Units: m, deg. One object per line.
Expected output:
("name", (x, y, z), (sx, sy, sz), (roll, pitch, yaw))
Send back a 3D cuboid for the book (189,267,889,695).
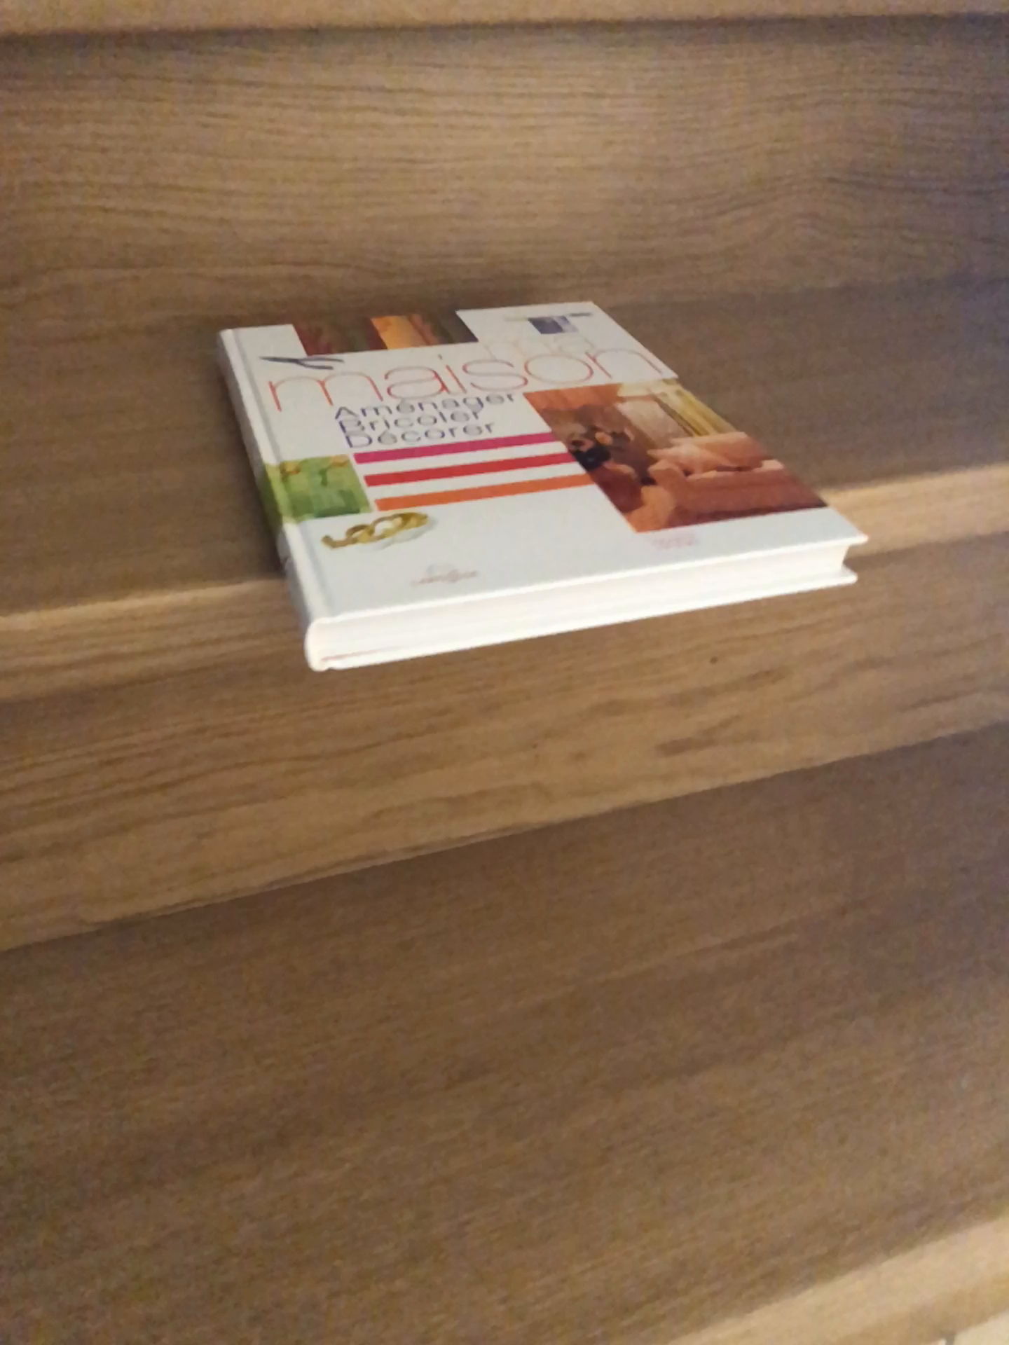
("book", (-0.014, -0.111, 0.486), (0.210, 0.030, 0.311), (-10, 38, -15))
